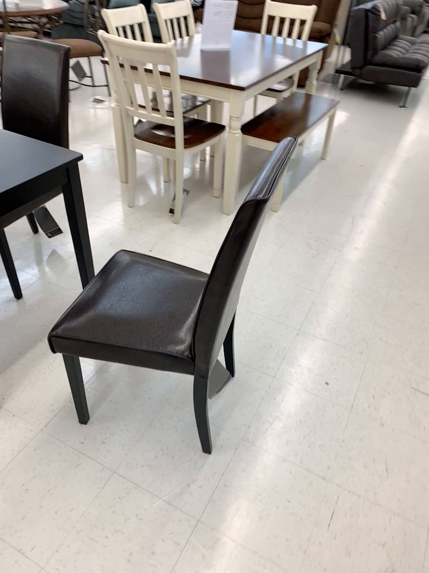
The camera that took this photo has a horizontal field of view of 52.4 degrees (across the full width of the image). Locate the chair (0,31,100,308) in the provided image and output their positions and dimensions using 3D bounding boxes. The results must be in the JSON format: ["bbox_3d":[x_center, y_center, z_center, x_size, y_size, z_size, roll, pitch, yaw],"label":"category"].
[{"bbox_3d":[-0.889,-0.499,1.873,0.415,0.930,0.597,19,40,17],"label":"chair"}]

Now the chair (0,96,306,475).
[{"bbox_3d":[-0.141,0.028,1.280,0.594,0.930,0.426,13,39,11],"label":"chair"}]

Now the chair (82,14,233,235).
[{"bbox_3d":[-0.281,-0.908,2.443,0.465,0.950,0.667,18,40,17],"label":"chair"}]
